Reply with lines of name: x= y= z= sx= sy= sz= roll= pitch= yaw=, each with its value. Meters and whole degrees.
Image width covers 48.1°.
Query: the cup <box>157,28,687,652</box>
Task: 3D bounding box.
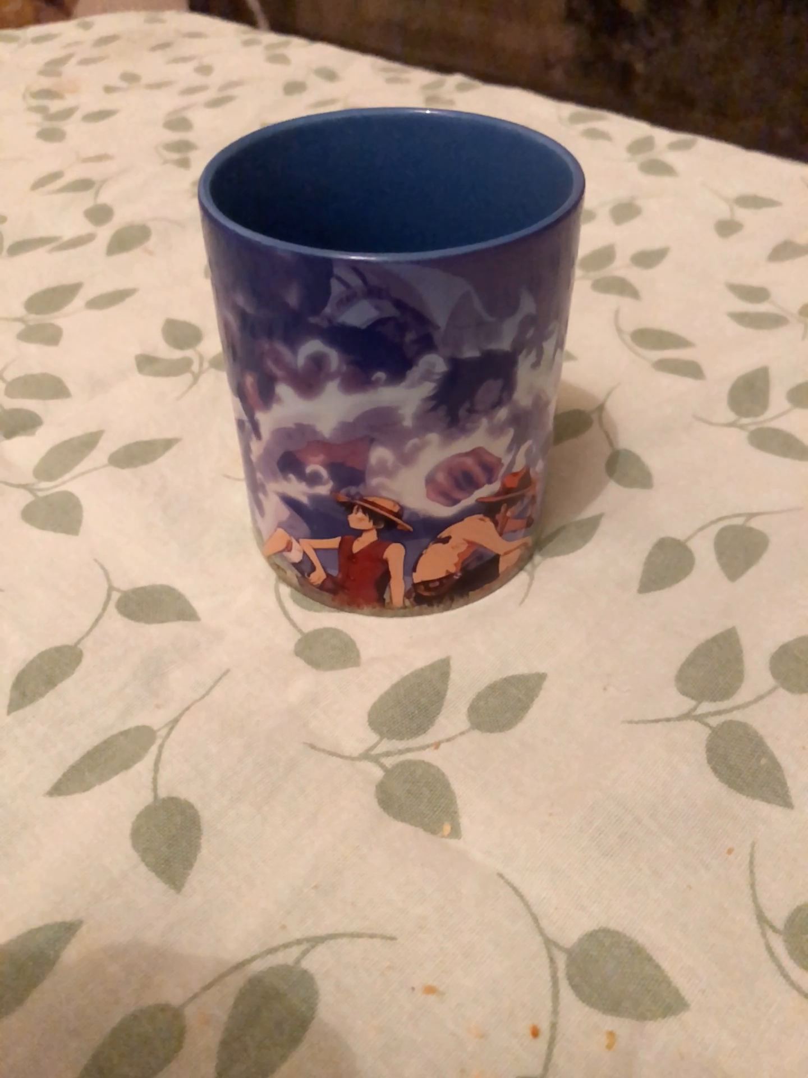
cup: x=-0.006 y=-0.057 z=0.232 sx=0.090 sy=0.099 sz=0.121 roll=-10 pitch=43 yaw=-9
